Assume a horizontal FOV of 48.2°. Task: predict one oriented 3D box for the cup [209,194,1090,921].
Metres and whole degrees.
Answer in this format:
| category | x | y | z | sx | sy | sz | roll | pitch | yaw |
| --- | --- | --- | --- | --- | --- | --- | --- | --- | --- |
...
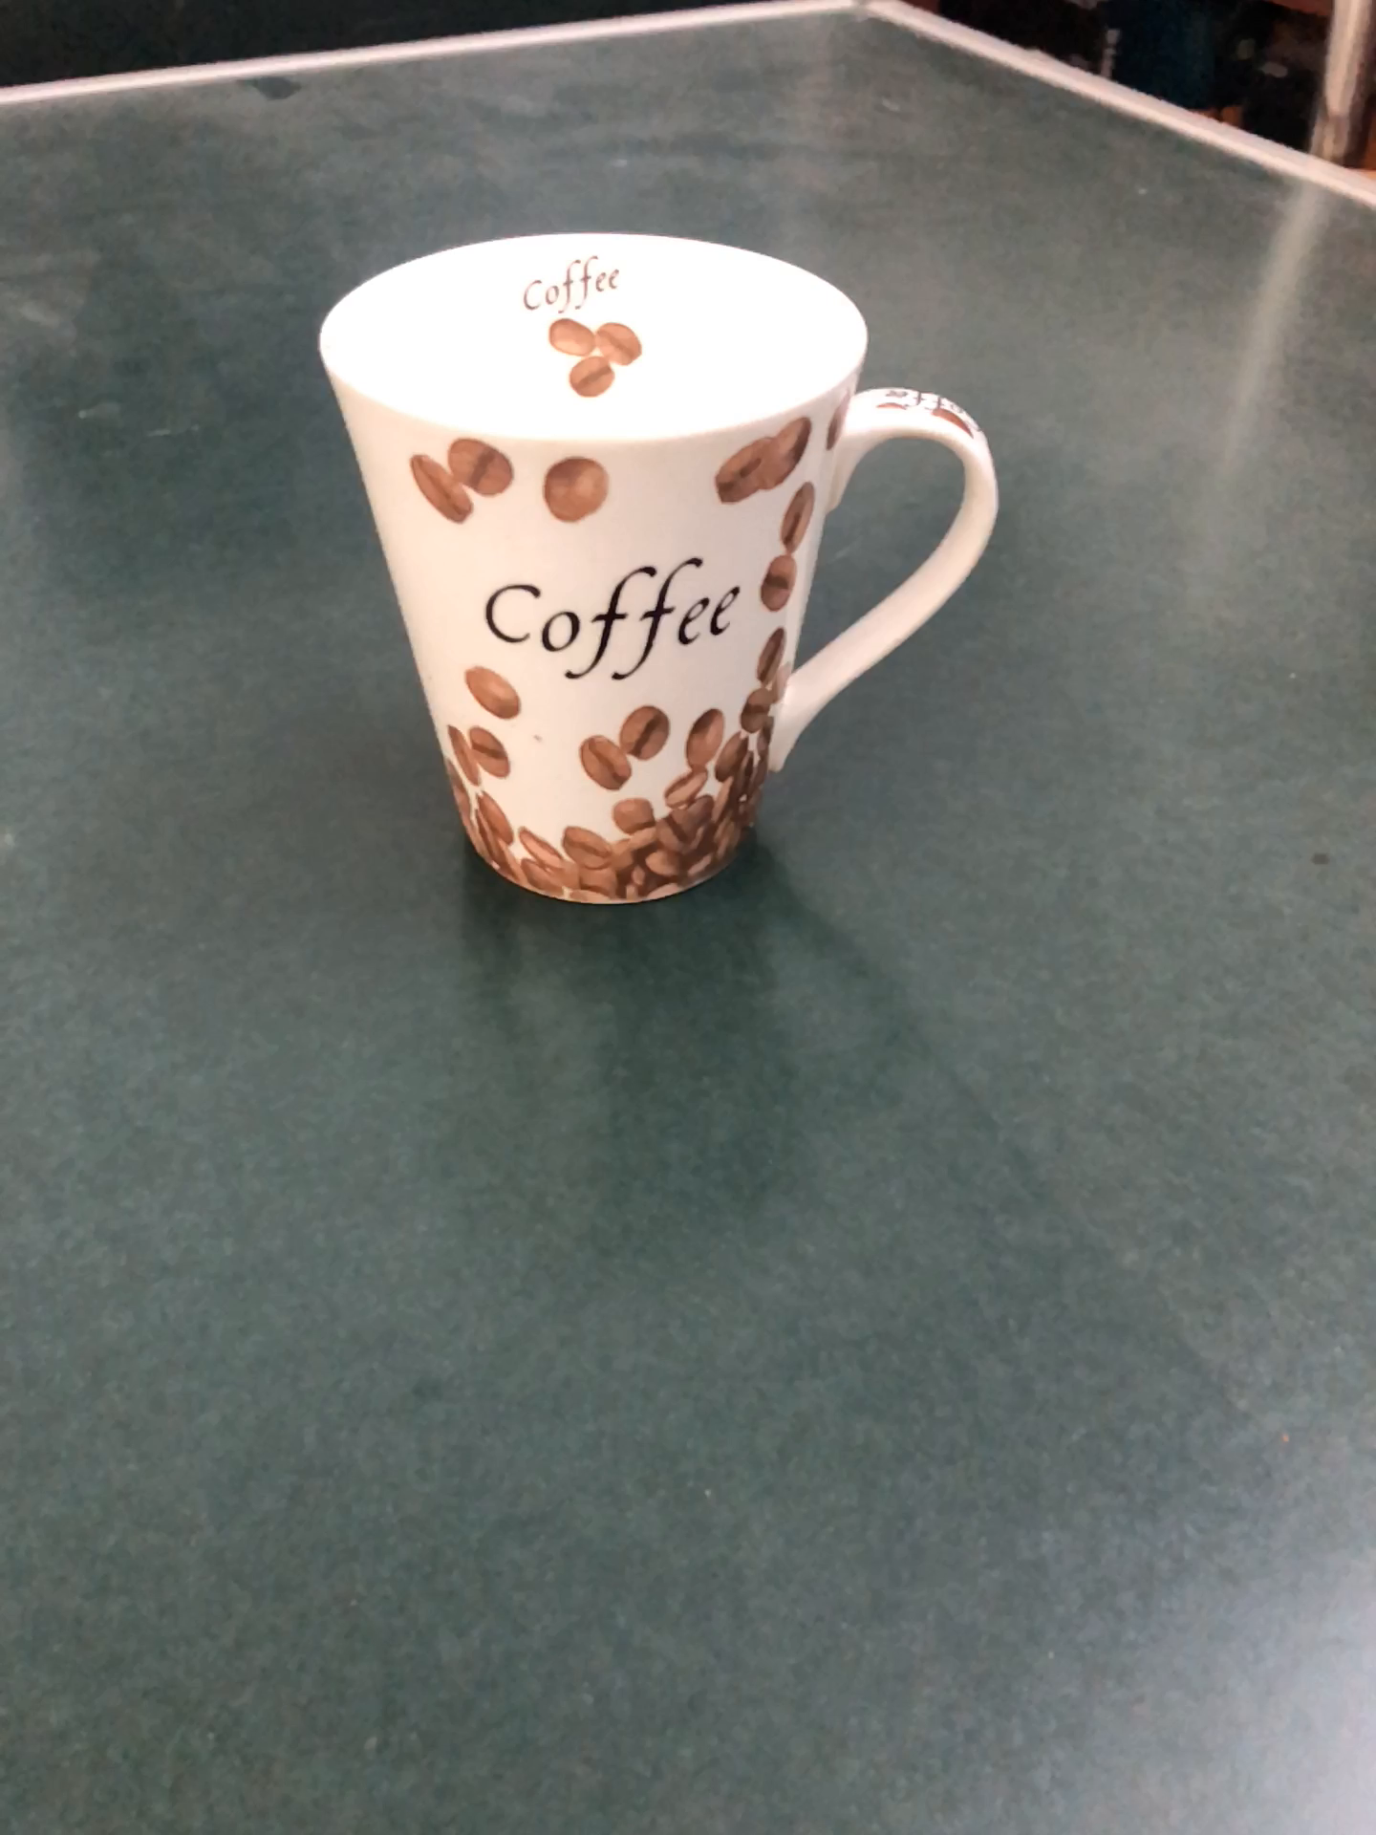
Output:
| category | x | y | z | sx | sy | sz | roll | pitch | yaw |
| --- | --- | --- | --- | --- | --- | --- | --- | --- | --- |
| cup | -0.006 | -0.067 | 0.277 | 0.120 | 0.090 | 0.100 | -1 | 41 | -1 |
